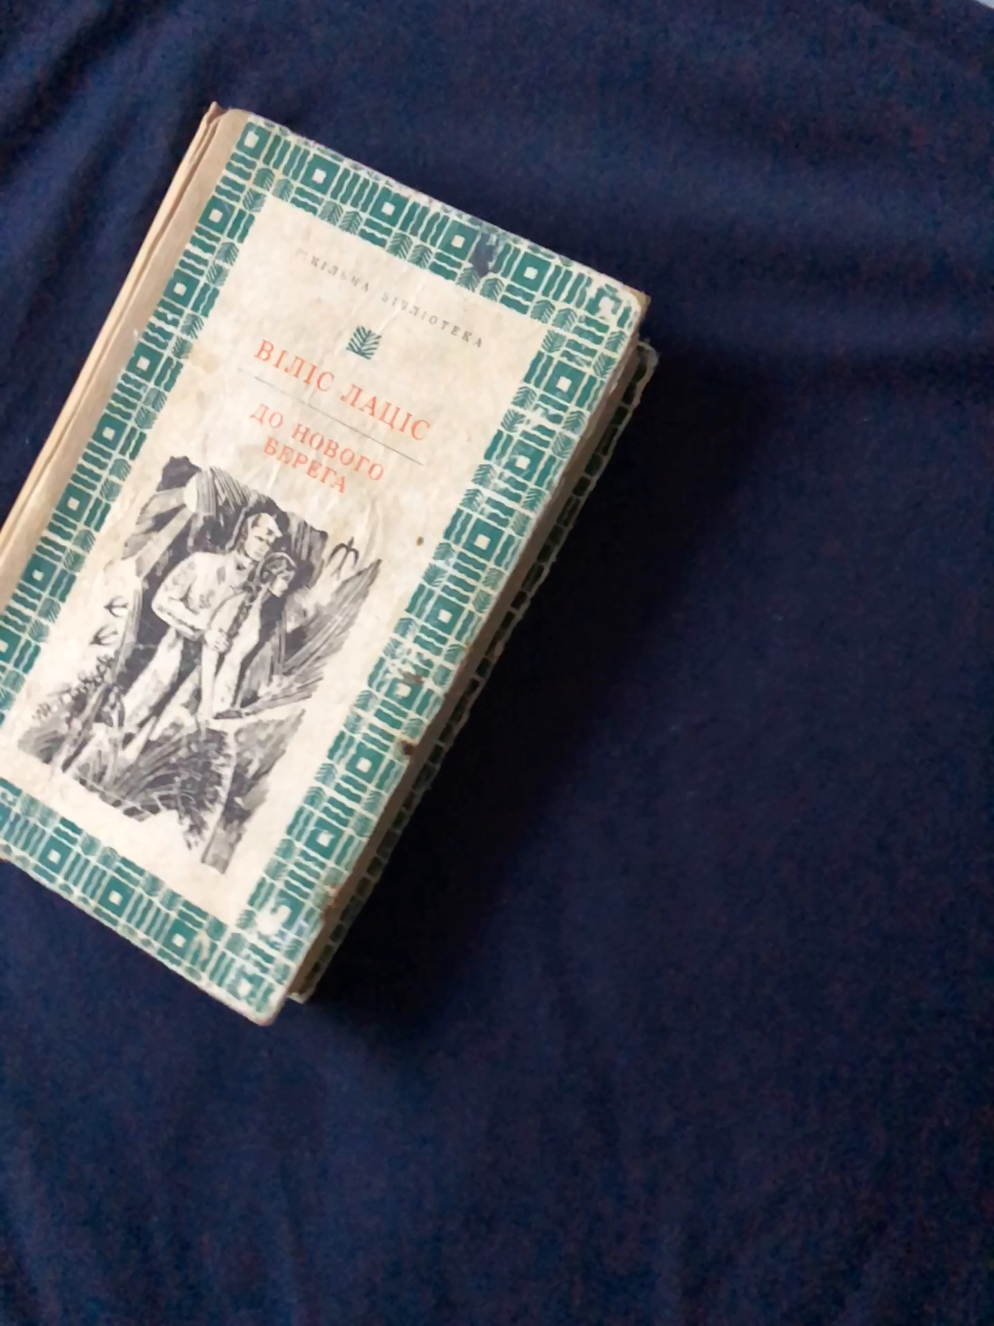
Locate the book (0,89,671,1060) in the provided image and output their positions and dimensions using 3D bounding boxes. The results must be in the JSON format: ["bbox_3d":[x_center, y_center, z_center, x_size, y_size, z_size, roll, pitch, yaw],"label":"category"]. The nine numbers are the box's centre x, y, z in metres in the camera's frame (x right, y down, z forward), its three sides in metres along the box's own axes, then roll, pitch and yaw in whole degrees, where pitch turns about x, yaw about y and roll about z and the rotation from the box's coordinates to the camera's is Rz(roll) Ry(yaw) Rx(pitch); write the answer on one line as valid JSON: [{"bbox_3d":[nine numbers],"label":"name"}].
[{"bbox_3d":[-0.063,-0.026,0.290,0.134,0.040,0.201,29,91,13],"label":"book"}]
